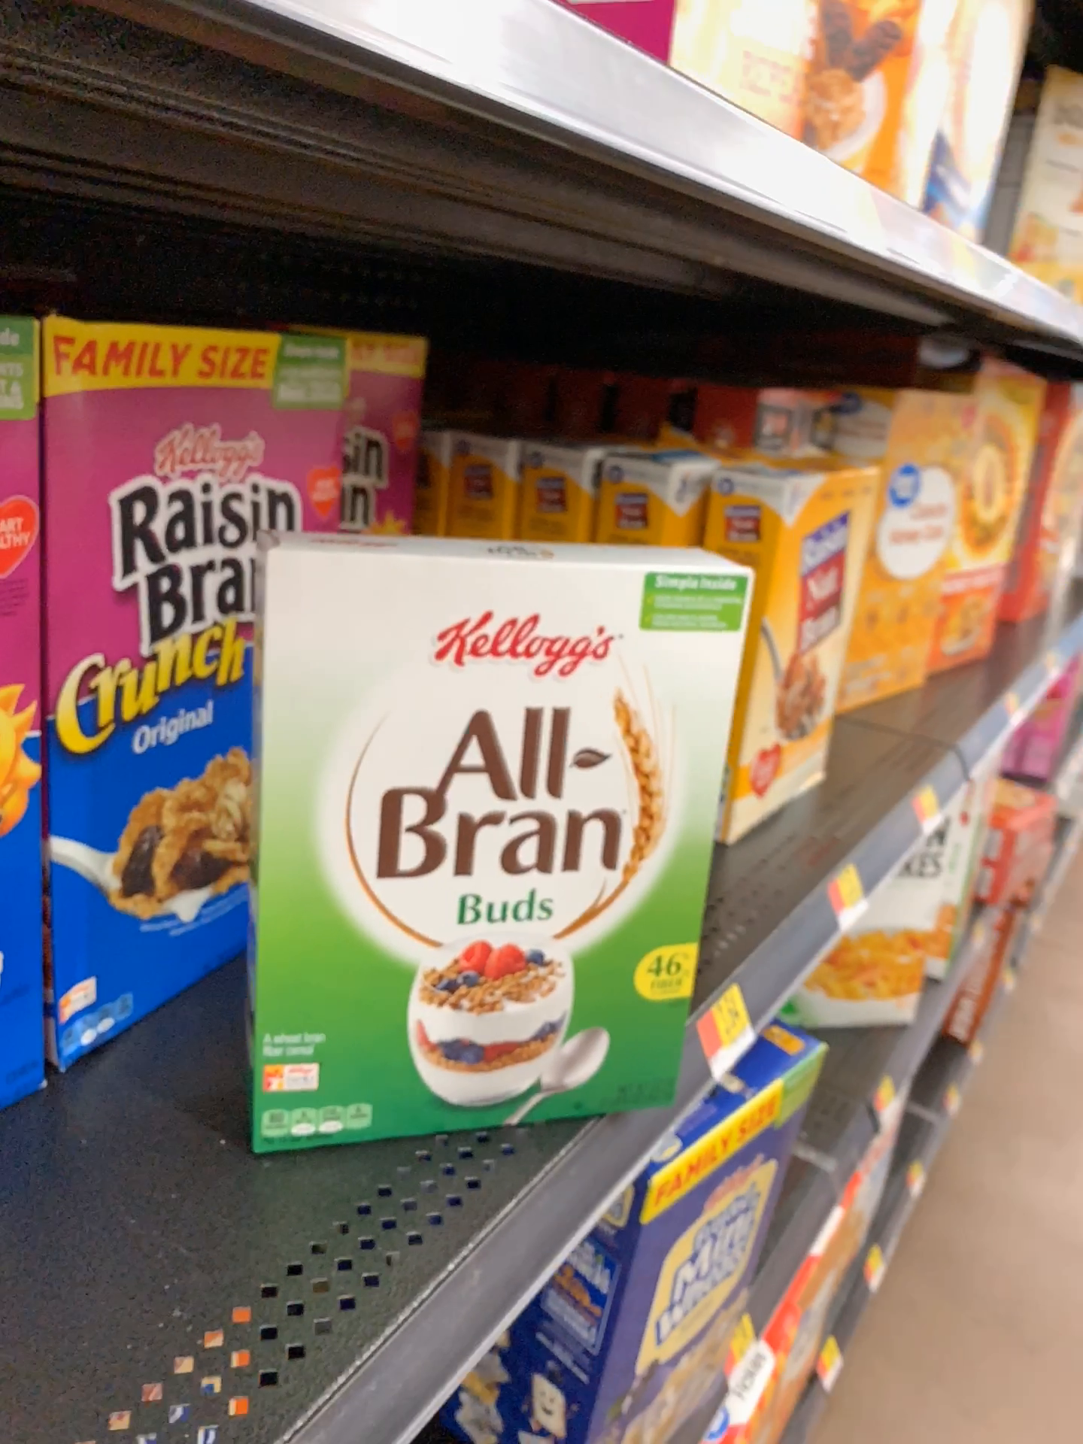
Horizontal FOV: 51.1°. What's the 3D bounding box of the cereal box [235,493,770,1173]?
[{"bbox_3d":[-0.023,0.047,0.463,0.190,0.259,0.050,0,17,-18],"label":"cereal box"}]
